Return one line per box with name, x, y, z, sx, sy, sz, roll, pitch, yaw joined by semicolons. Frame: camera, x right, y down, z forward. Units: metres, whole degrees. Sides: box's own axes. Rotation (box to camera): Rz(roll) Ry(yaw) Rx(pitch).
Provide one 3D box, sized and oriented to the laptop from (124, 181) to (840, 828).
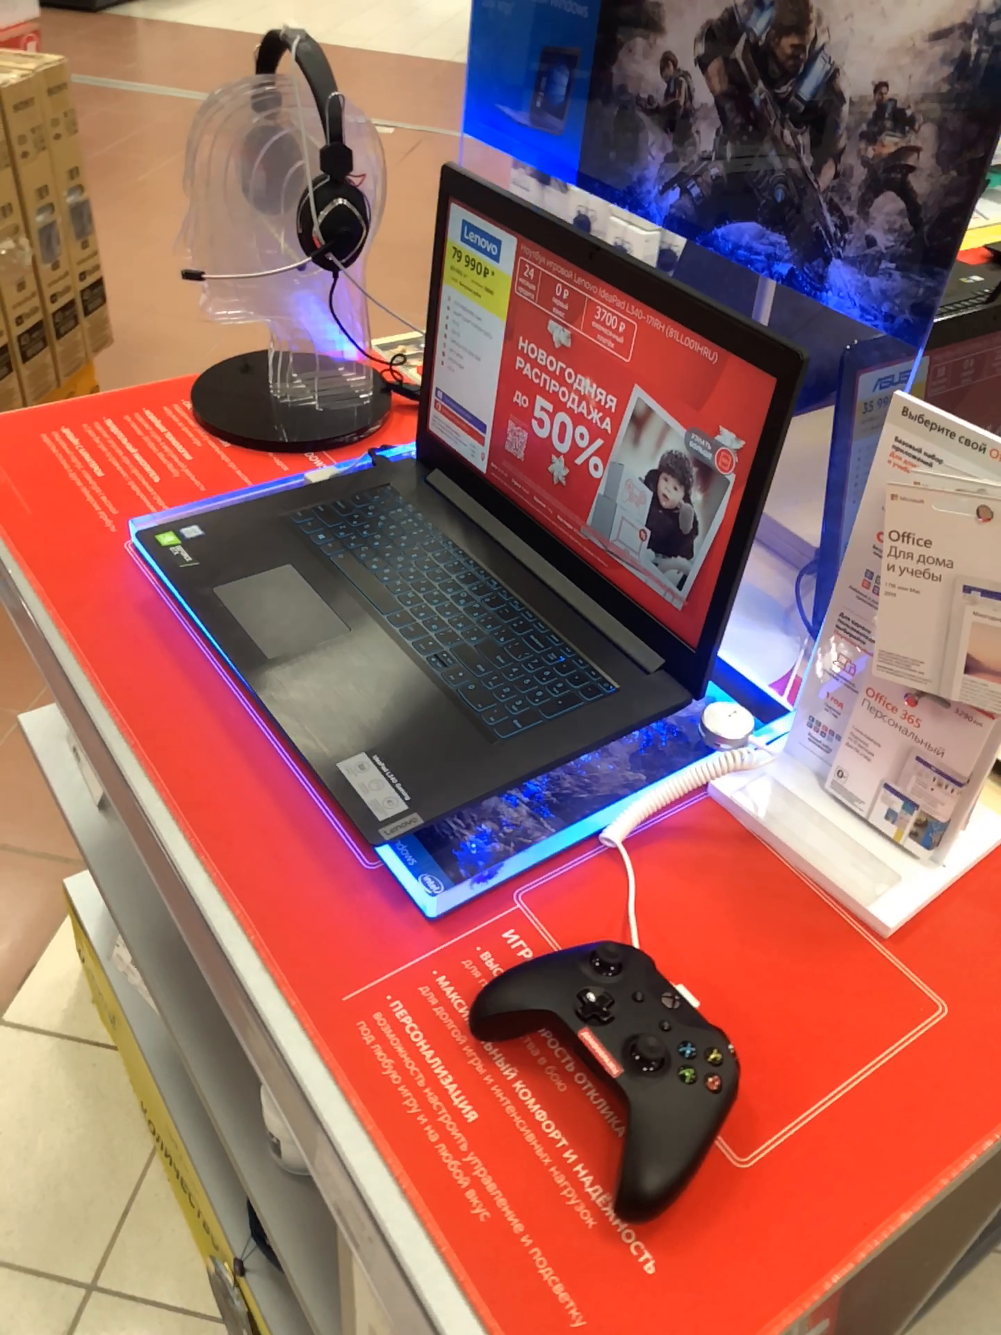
laptop;-0.046;-0.153;0.808;0.295;0.255;0.405;-21;44;-27
